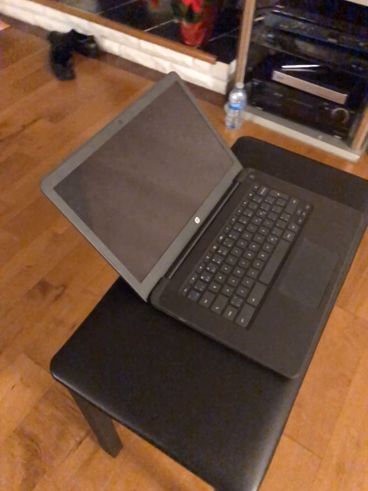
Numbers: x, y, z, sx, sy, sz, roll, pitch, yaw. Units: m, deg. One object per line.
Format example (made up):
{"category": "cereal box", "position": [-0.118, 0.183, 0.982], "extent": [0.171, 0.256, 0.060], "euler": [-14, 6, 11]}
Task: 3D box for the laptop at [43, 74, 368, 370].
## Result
{"category": "laptop", "position": [0.057, -0.068, 0.589], "extent": [0.363, 0.143, 0.317], "euler": [24, 55, 19]}
